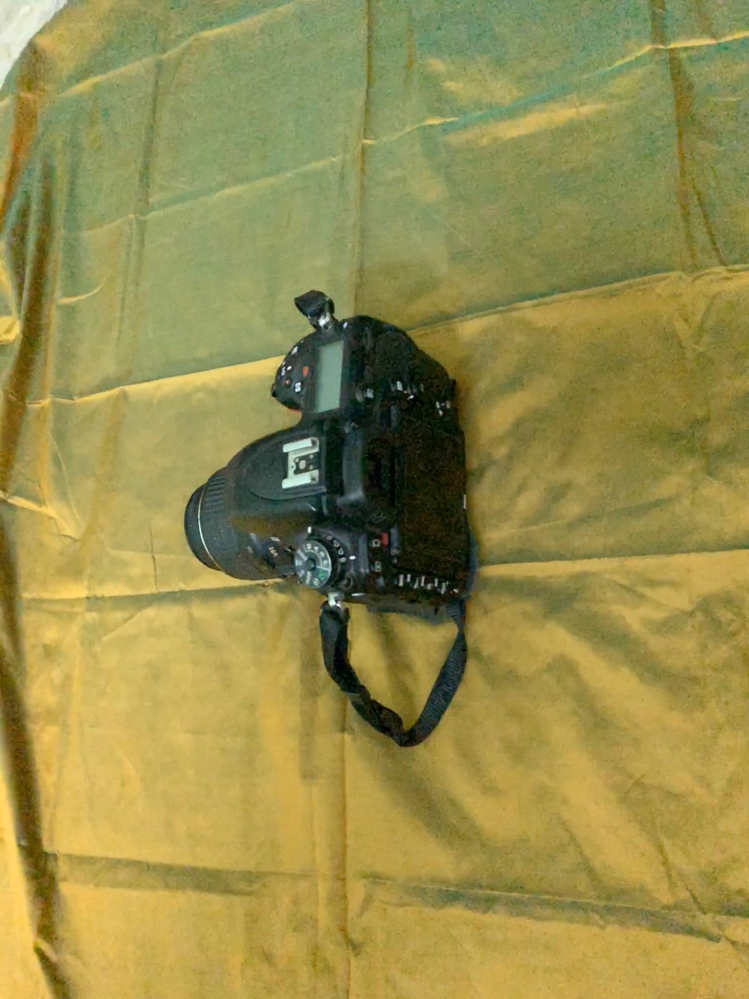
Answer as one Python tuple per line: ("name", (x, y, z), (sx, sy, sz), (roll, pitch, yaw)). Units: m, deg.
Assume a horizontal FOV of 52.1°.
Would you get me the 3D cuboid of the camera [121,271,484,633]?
("camera", (-0.033, -0.009, 0.396), (0.132, 0.120, 0.135), (-12, 69, 38))
